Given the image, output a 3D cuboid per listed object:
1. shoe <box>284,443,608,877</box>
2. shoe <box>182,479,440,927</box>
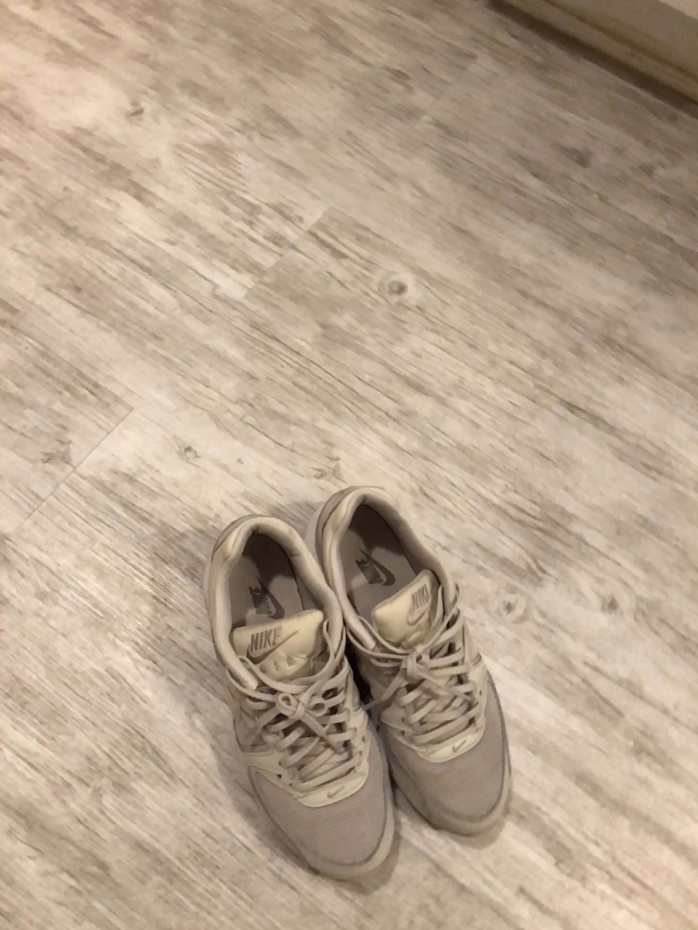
[{"bbox_3d":[0.050,0.132,0.535,0.100,0.120,0.250,-21,69,-14],"label":"shoe"},{"bbox_3d":[-0.035,0.155,0.524,0.090,0.120,0.250,-15,68,-12],"label":"shoe"}]
